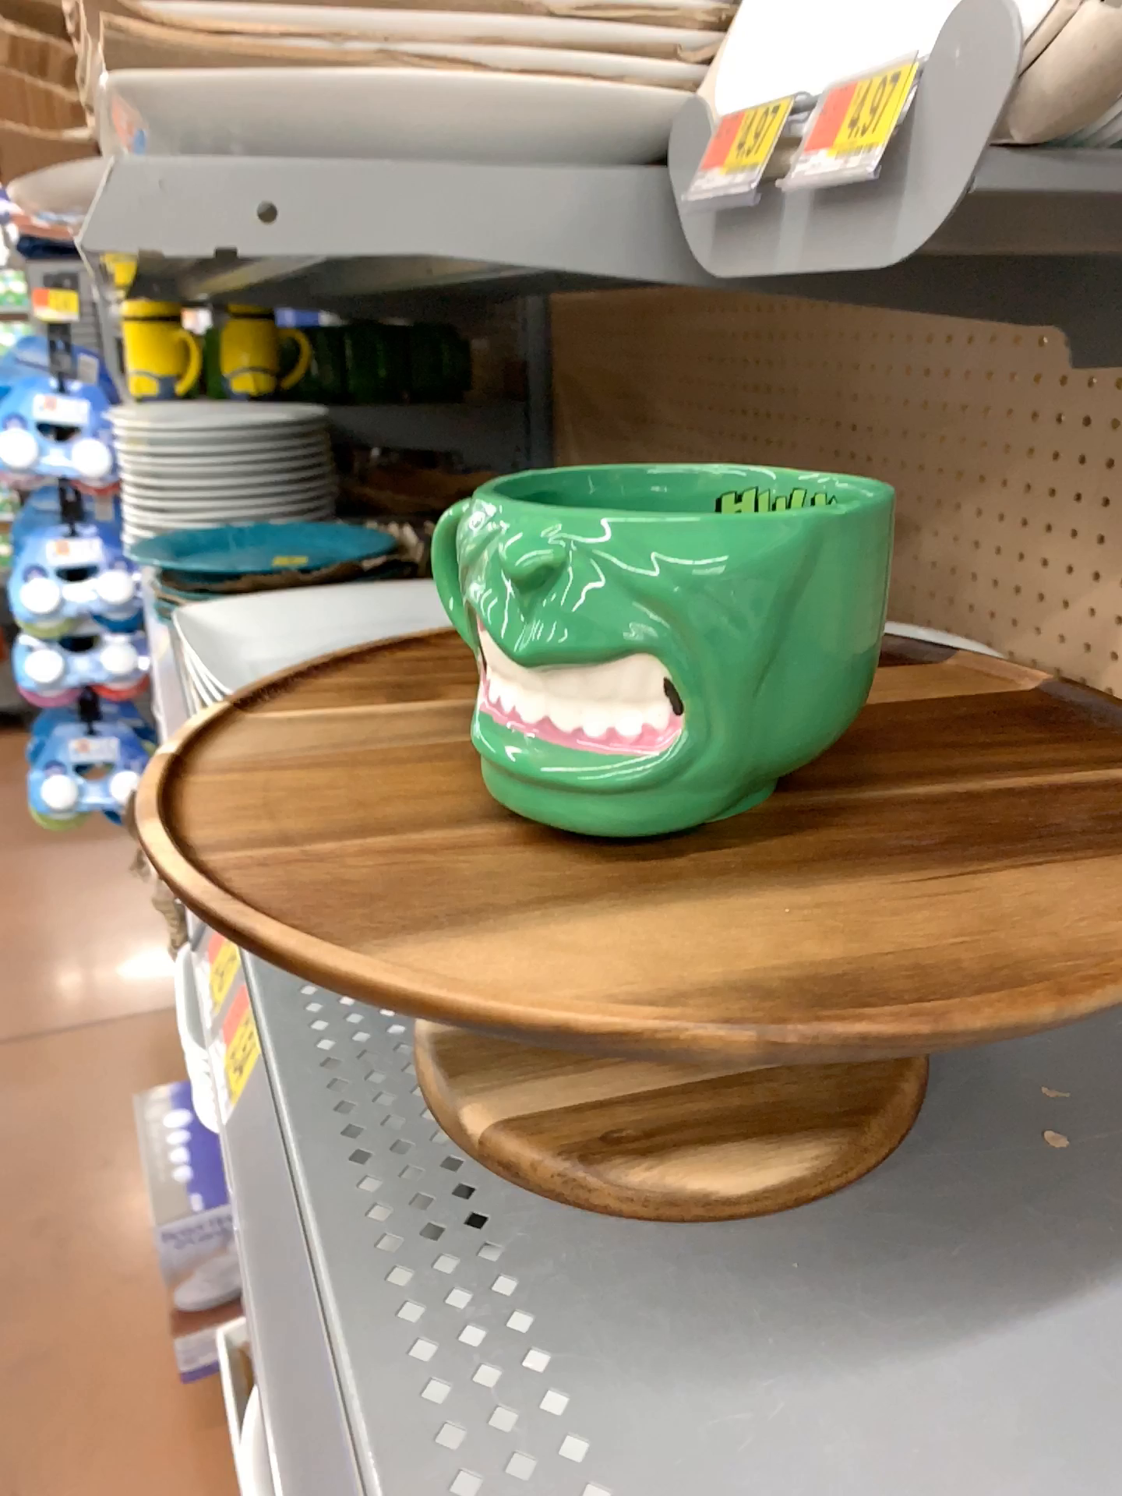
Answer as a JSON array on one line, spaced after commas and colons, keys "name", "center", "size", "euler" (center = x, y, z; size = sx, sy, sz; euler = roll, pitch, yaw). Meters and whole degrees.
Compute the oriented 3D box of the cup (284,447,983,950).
[{"name": "cup", "center": [0.021, -0.030, 0.331], "size": [0.140, 0.090, 0.130], "euler": [-1, 20, 0]}]
